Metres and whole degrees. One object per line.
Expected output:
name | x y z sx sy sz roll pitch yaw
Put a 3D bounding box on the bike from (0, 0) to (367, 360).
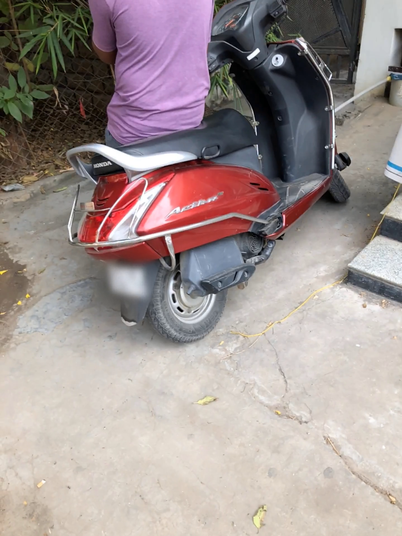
bike | 0.106 -0.594 1.862 0.572 1.056 1.486 18 42 29
